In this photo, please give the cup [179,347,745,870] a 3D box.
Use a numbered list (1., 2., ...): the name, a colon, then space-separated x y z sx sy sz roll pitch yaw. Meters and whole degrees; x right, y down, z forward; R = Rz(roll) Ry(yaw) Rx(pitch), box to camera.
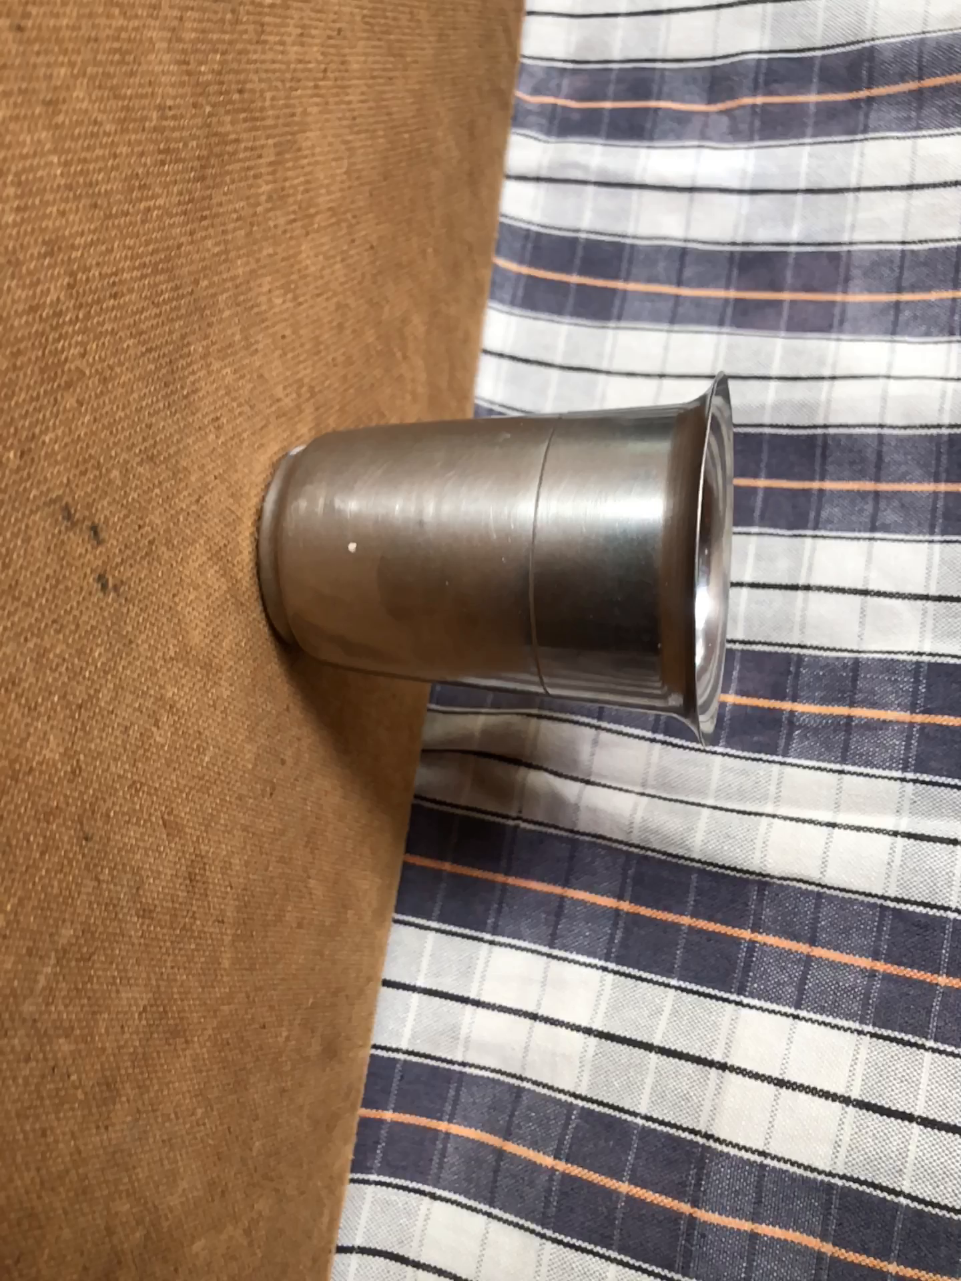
1. cup: 0.007 -0.009 0.246 0.080 0.099 0.080 3 90 -74
